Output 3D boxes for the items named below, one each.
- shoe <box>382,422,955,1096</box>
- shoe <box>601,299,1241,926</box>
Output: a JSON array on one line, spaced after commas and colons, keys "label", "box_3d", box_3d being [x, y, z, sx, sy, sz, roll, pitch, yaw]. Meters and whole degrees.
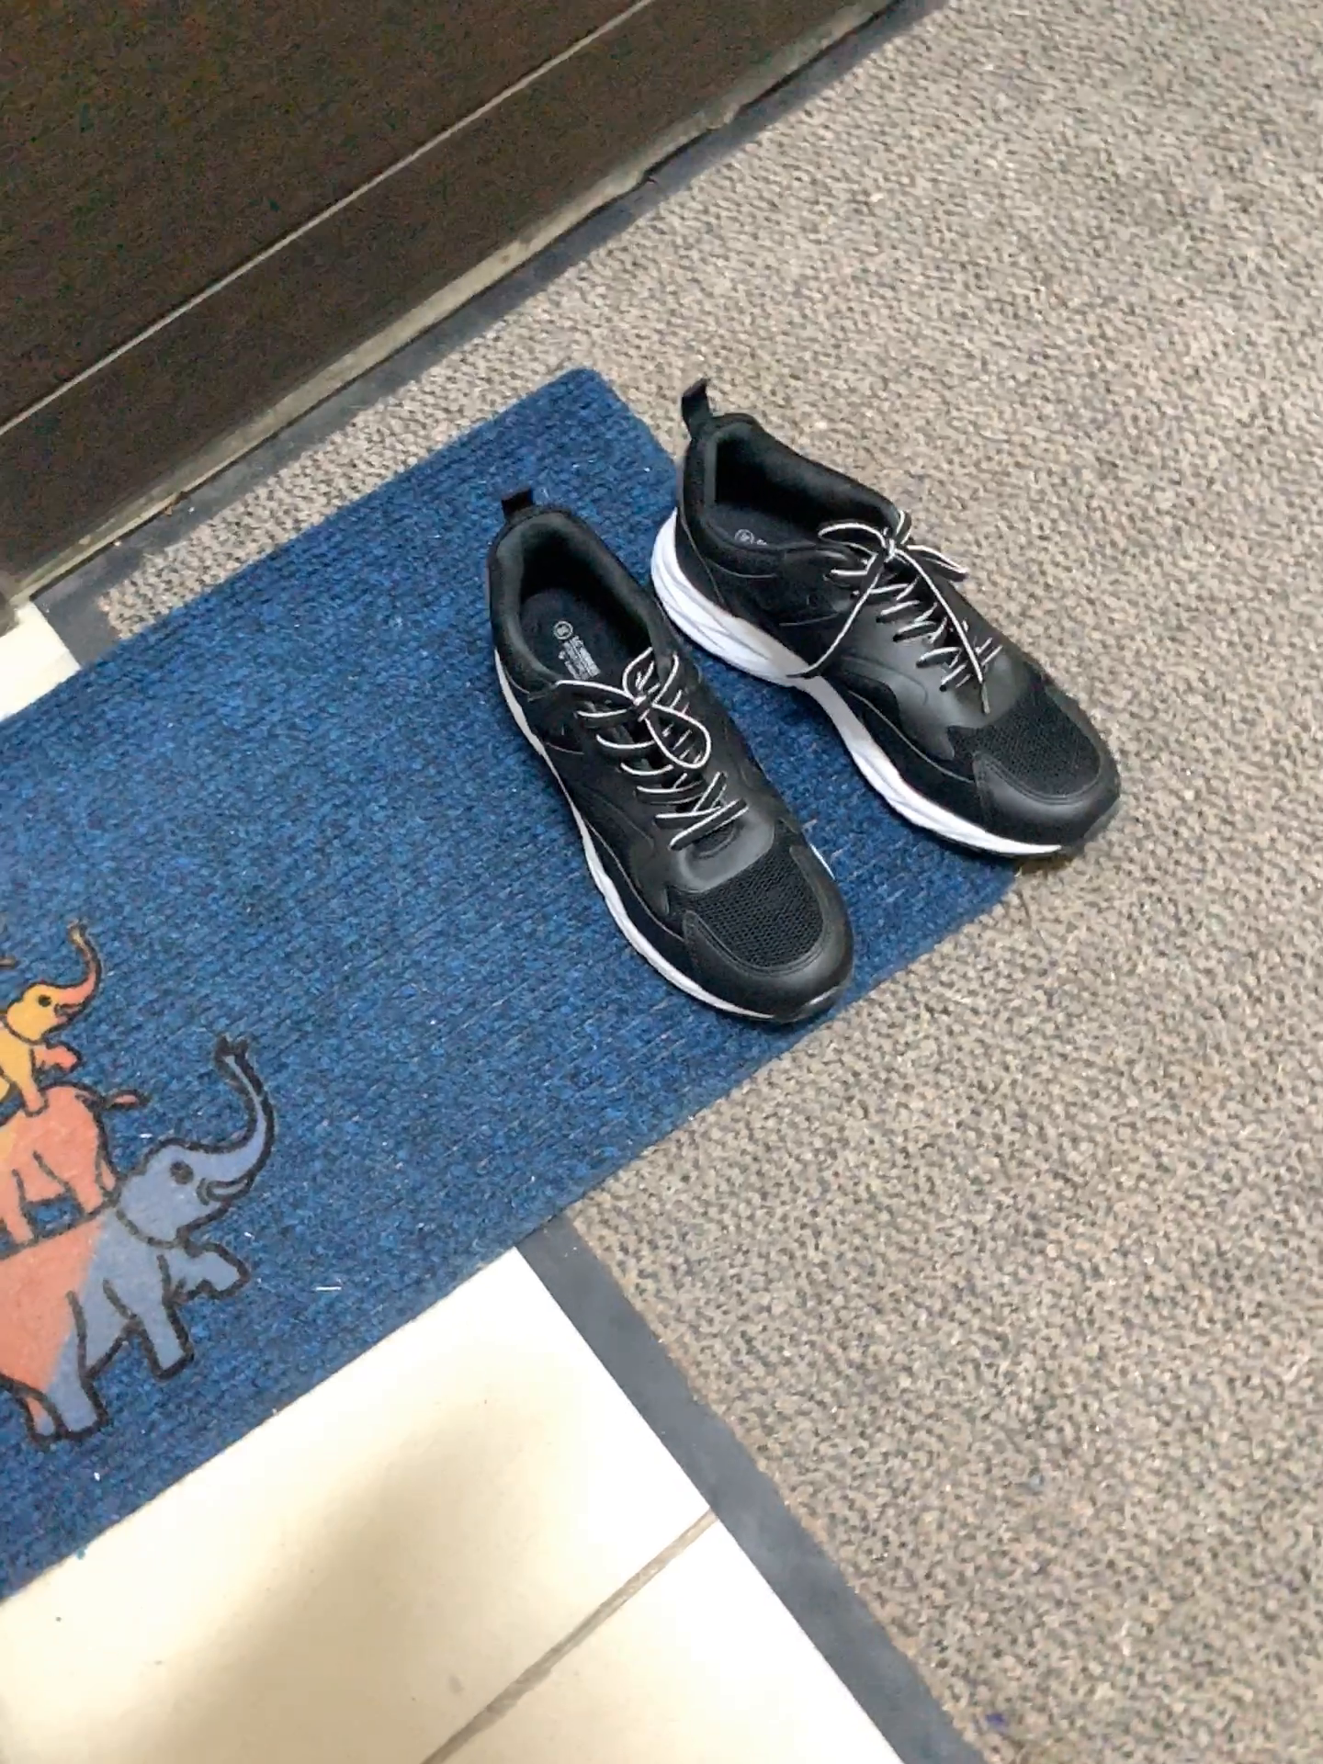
[{"label": "shoe", "box_3d": [0.000, -0.054, 0.590, 0.110, 0.100, 0.260, -32, 71, -6]}, {"label": "shoe", "box_3d": [0.105, -0.122, 0.607, 0.110, 0.100, 0.260, -41, 72, -9]}]
